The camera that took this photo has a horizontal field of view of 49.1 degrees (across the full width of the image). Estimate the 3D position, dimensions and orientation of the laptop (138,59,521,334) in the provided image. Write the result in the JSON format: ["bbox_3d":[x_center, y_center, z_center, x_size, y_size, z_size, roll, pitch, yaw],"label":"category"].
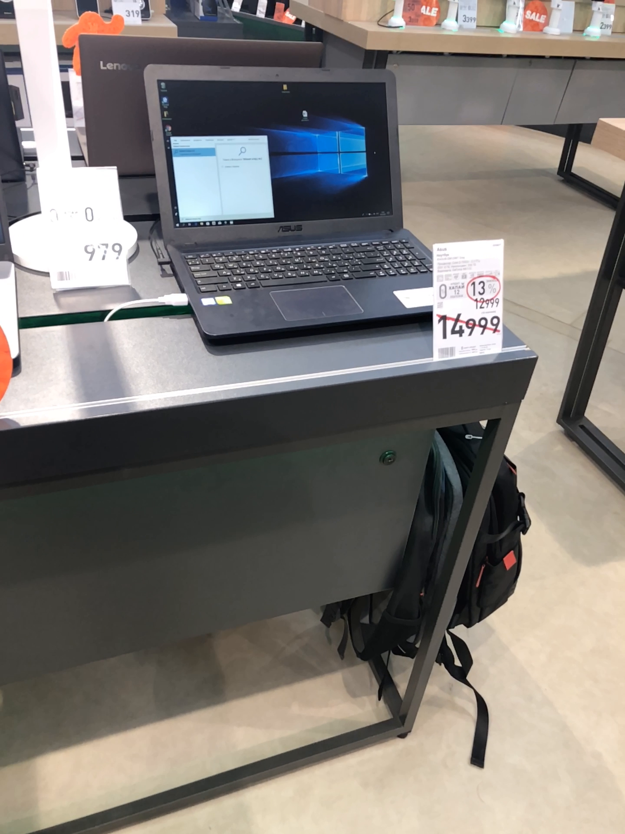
[{"bbox_3d":[-0.008,-0.322,0.932,0.380,0.209,0.371,-9,41,-19],"label":"laptop"}]
